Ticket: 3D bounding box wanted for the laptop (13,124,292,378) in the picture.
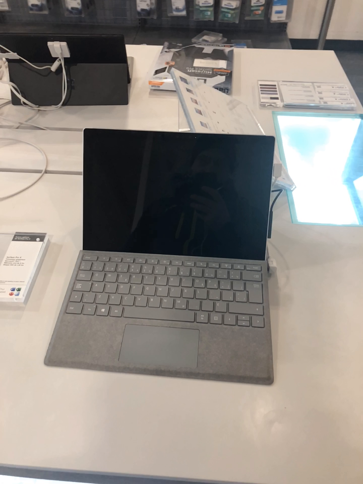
[{"bbox_3d":[-0.017,-0.004,0.544,0.278,0.147,0.298,3,49,4],"label":"laptop"}]
